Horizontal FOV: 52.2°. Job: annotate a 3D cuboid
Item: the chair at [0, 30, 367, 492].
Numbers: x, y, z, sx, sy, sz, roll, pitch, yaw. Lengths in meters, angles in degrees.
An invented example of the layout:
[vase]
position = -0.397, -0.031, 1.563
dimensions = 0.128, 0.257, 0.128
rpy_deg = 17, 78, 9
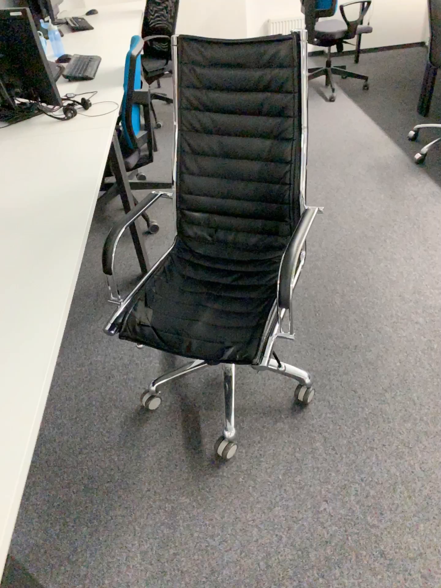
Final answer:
[chair]
position = -0.011, -0.092, 1.395
dimensions = 0.641, 1.134, 0.693
rpy_deg = 13, 44, 22
